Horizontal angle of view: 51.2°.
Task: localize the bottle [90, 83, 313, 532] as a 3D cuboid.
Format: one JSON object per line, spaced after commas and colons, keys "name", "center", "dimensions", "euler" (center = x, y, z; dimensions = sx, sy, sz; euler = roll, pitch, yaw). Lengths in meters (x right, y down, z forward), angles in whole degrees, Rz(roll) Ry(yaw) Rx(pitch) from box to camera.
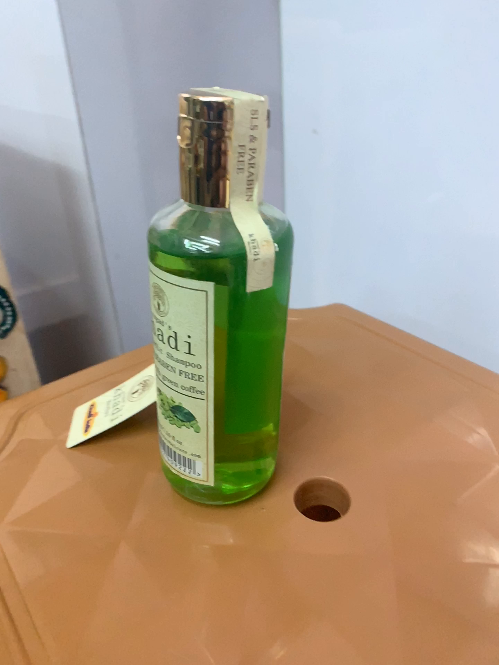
{"name": "bottle", "center": [-0.016, -0.007, 0.191], "dimensions": [0.050, 0.149, 0.050], "euler": [0, 28, 0]}
